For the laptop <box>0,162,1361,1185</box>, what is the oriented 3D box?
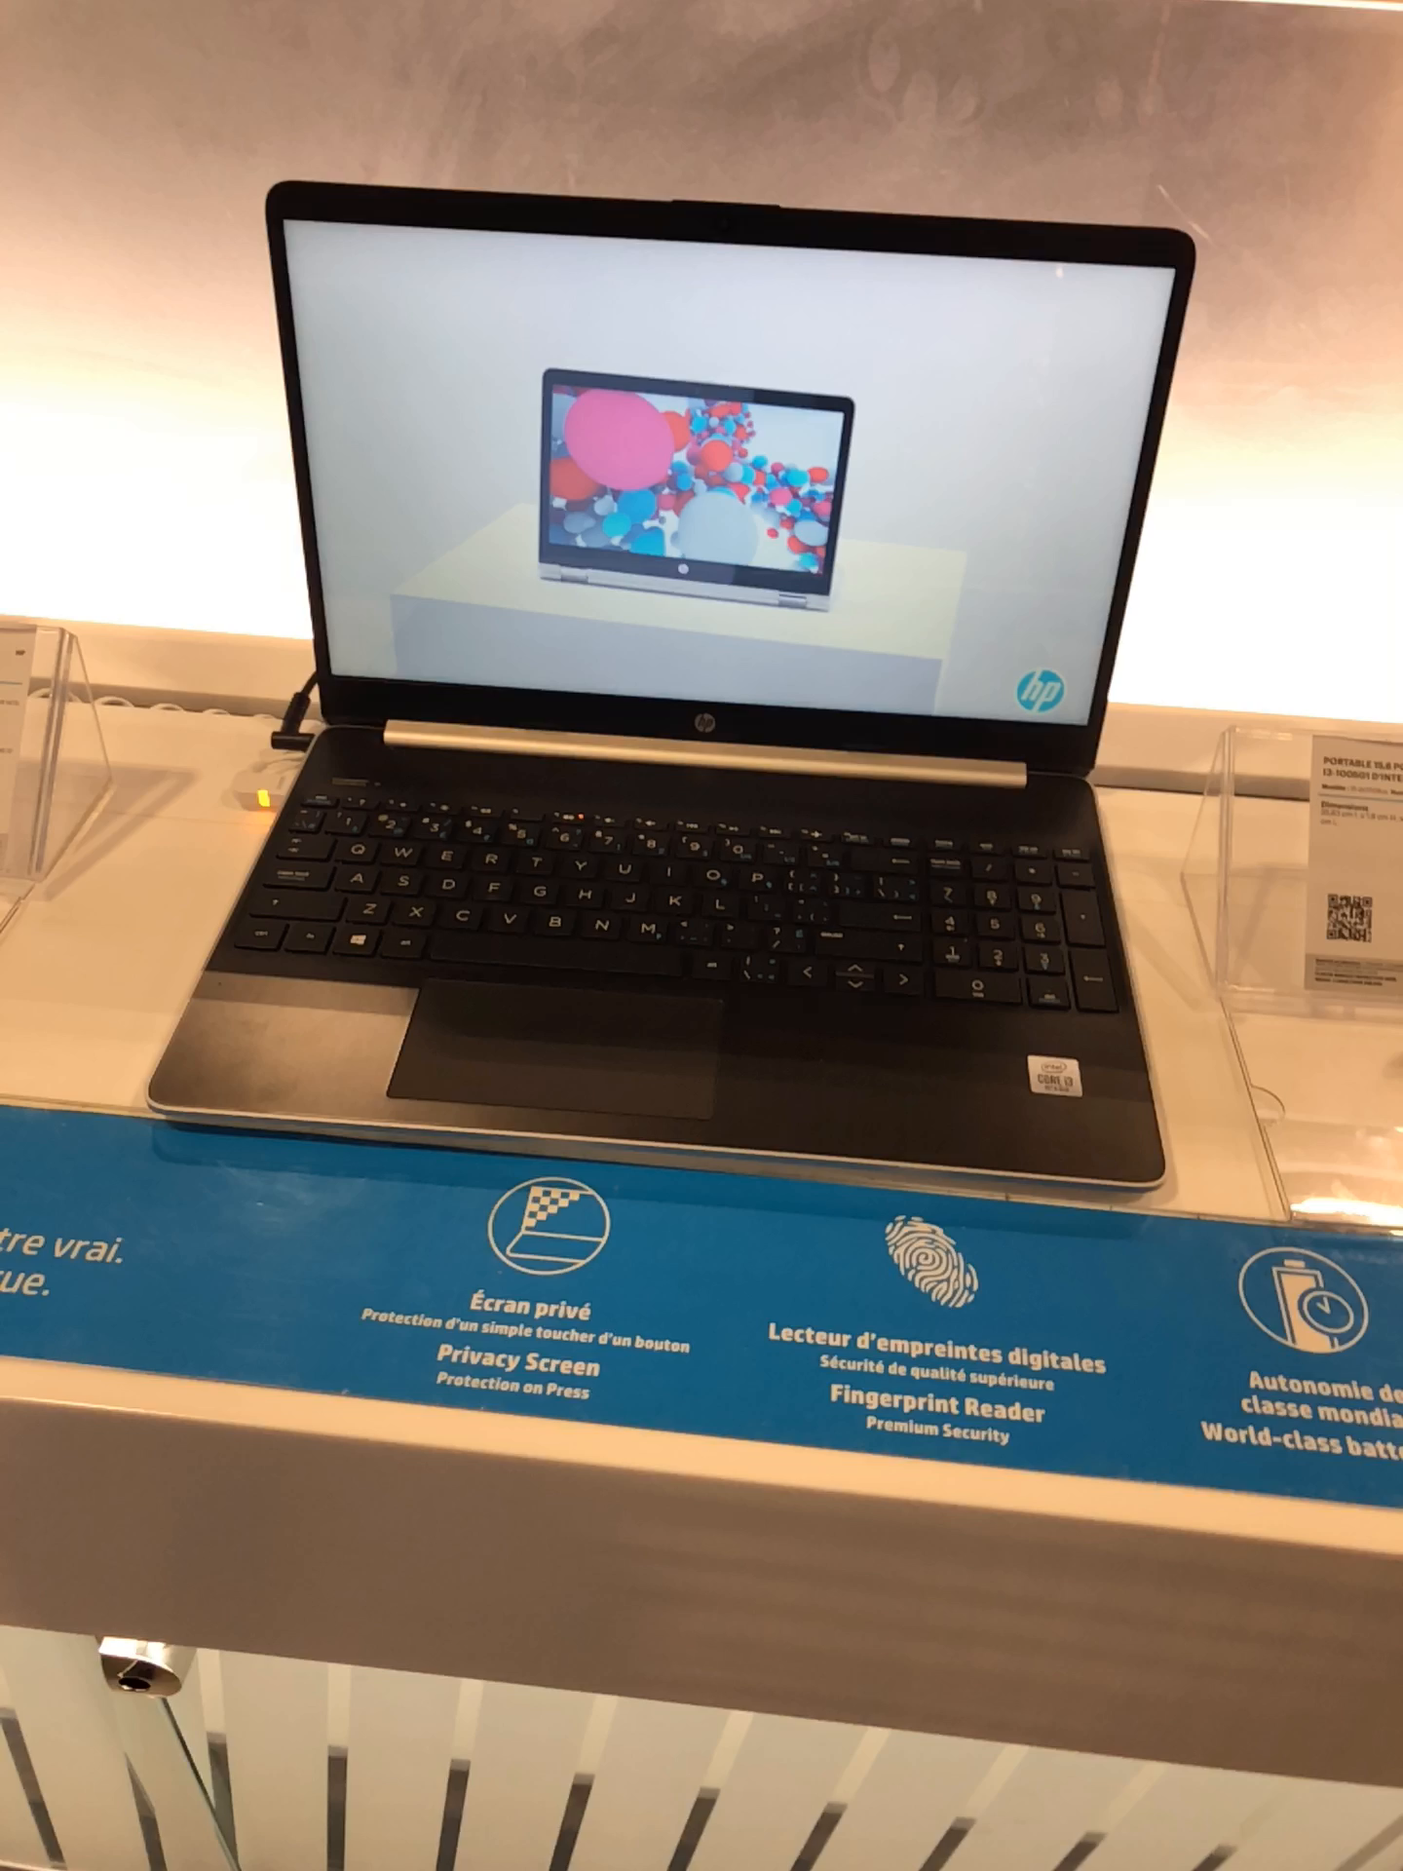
[{"bbox_3d":[-0.007,-0.109,0.560,0.355,0.221,0.284,5,42,3],"label":"laptop"}]
